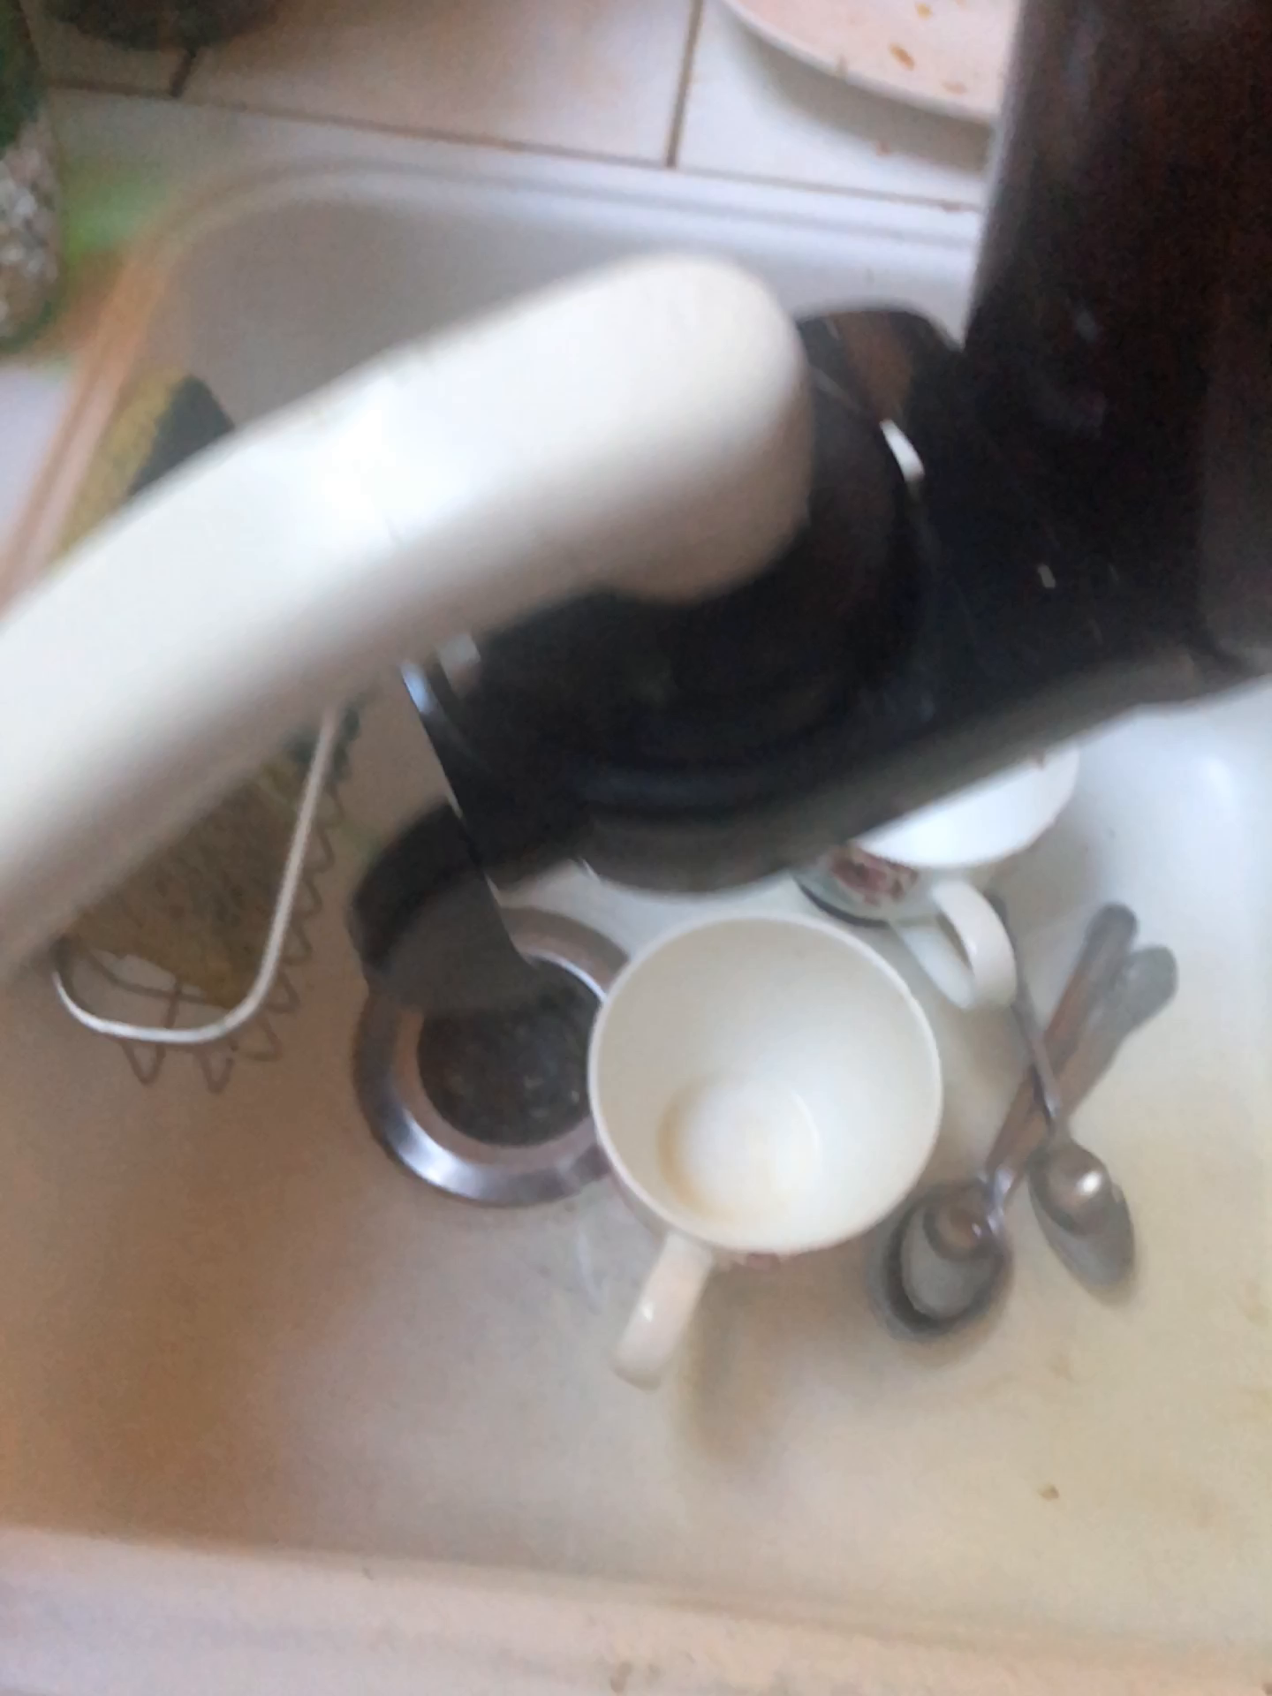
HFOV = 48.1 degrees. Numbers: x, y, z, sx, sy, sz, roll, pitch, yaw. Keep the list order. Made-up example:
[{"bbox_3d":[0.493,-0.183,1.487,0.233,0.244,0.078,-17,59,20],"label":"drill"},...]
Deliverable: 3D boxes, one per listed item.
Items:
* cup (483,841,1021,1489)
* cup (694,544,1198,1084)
[{"bbox_3d":[0.034,0.089,0.411,0.100,0.070,0.141,23,62,8],"label":"cup"},{"bbox_3d":[0.093,-0.014,0.475,0.110,0.070,0.151,-9,62,-9],"label":"cup"}]
